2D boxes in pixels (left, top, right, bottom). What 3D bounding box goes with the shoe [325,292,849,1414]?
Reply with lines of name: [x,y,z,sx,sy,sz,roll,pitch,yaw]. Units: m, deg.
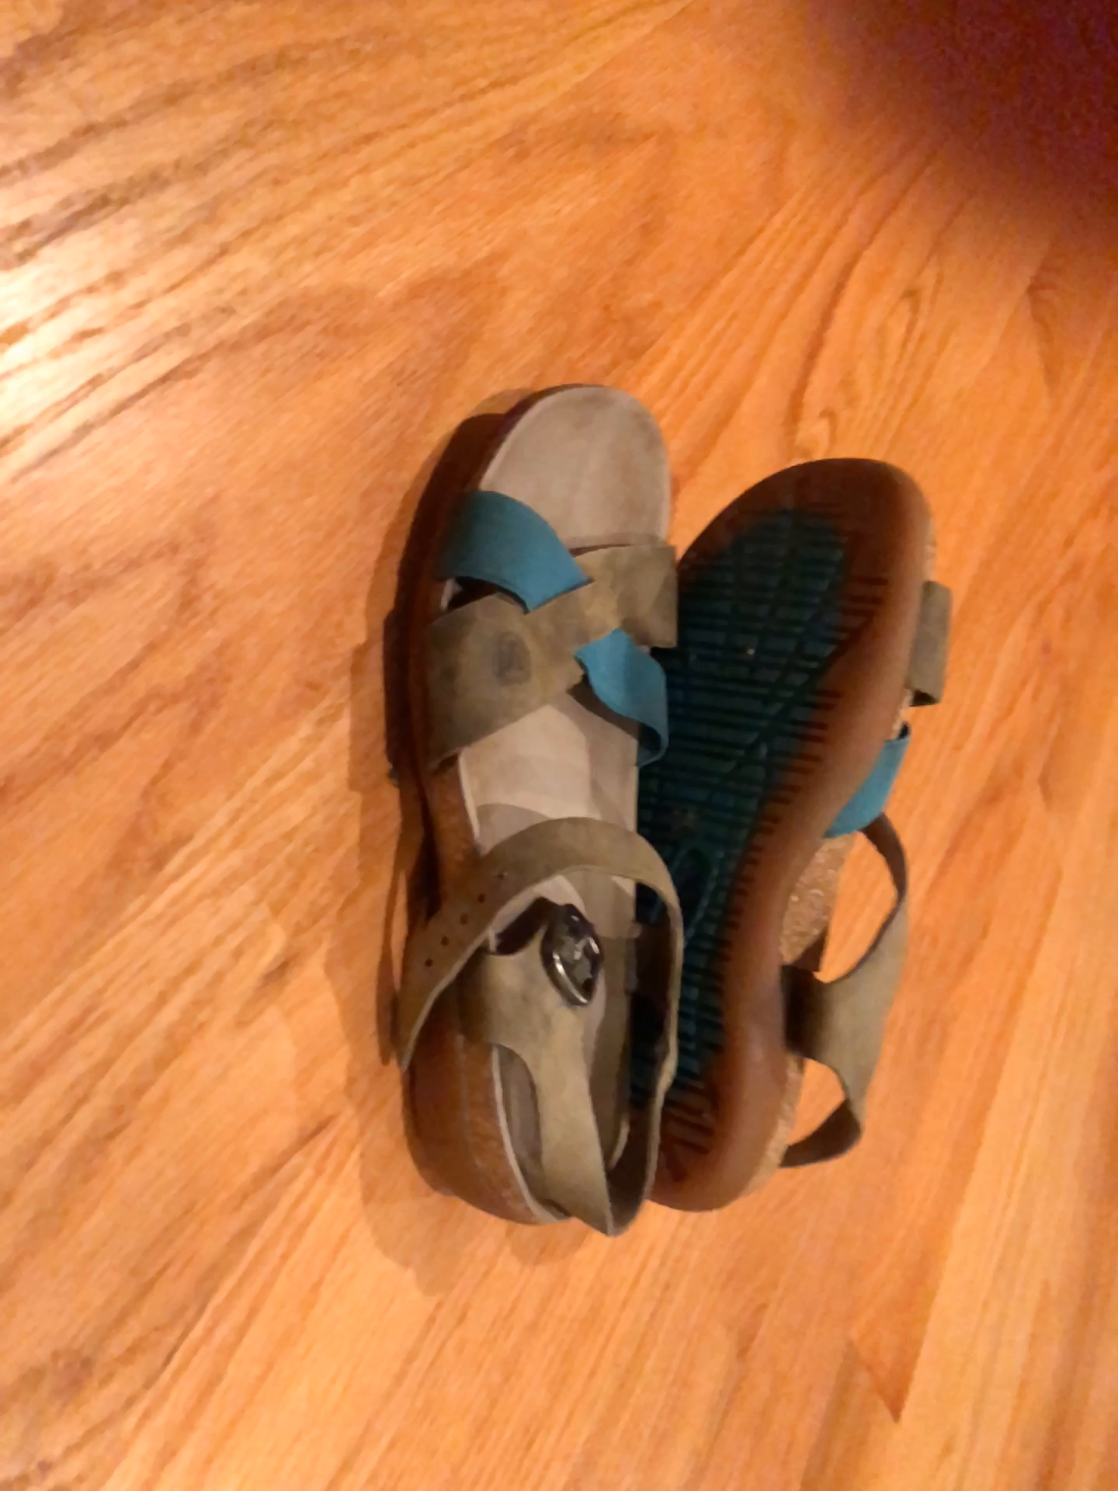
shoe: [0.014,0.024,0.328,0.105,0.075,0.240,12,81,-52]

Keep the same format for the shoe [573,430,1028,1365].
shoe: [0.074,0.038,0.372,0.065,0.104,0.238,12,81,-52]
